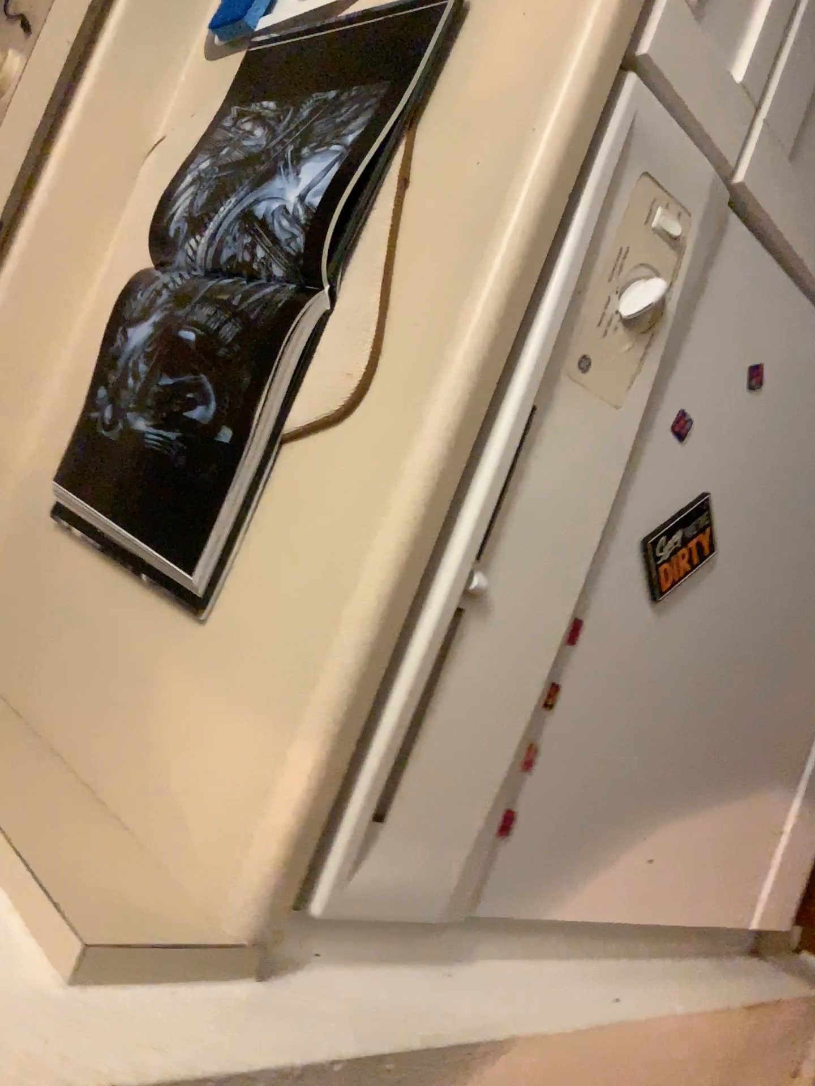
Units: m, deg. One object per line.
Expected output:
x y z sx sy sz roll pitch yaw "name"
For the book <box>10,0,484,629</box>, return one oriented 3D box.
-0.171 -0.231 0.797 0.350 0.040 0.530 23 89 47 "book"
